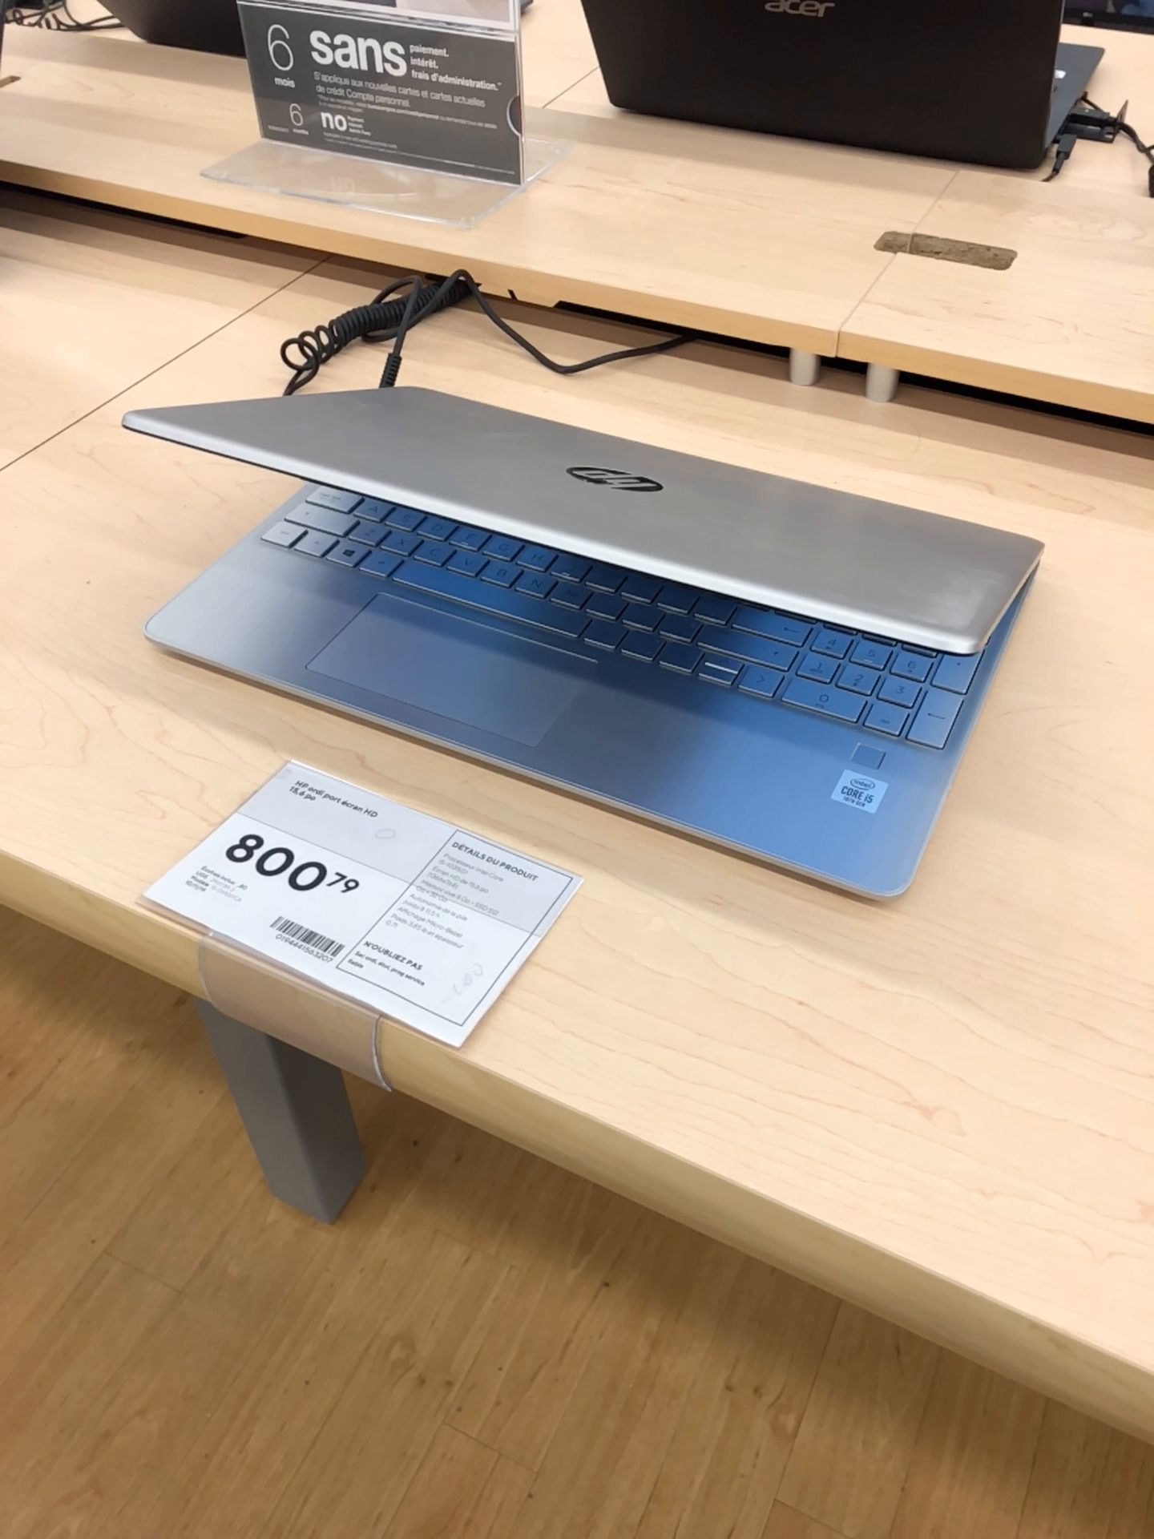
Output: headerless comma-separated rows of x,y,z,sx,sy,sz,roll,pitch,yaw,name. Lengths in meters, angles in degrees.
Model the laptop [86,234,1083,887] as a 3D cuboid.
0.010,-0.113,0.549,0.341,0.086,0.224,19,50,19,laptop
